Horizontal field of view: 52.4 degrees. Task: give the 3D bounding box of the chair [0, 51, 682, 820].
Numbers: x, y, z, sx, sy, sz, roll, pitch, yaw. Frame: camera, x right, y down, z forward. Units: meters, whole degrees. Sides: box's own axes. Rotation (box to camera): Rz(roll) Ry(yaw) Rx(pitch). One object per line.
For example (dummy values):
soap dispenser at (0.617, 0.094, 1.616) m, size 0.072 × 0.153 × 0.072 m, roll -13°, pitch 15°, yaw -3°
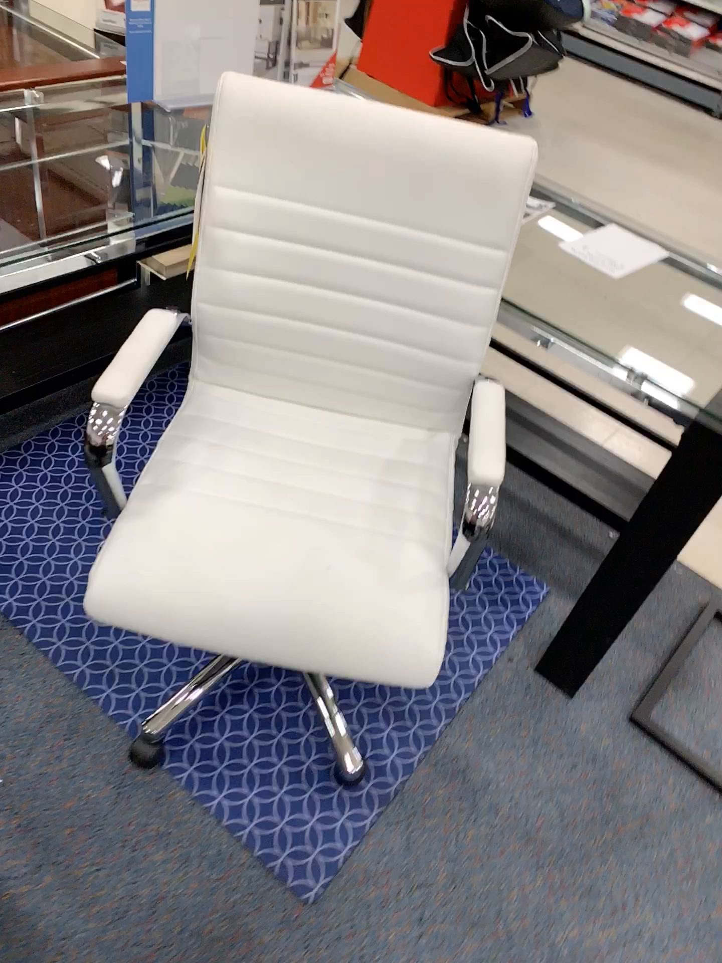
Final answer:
chair at (-0.075, -0.016, 1.206) m, size 0.614 × 0.963 × 0.664 m, roll 11°, pitch 44°, yaw -4°
